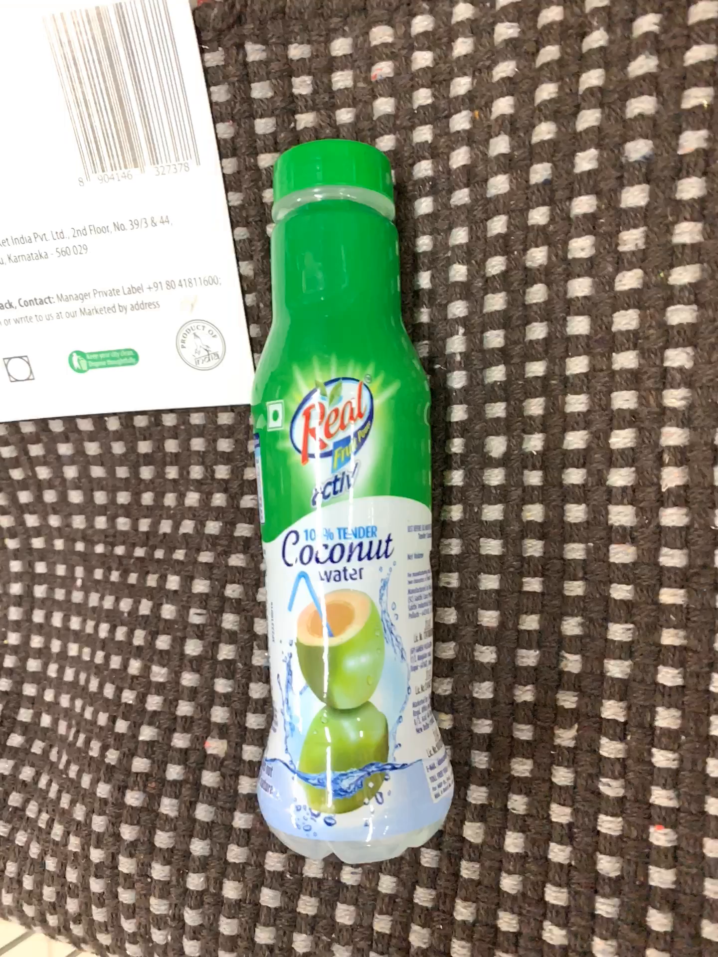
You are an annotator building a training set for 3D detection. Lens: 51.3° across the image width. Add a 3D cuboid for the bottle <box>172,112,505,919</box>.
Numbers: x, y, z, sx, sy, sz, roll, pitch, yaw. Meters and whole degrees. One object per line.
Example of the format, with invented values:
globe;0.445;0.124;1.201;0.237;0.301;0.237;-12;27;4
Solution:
bottle;0.000;0.012;0.181;0.060;0.040;0.170;-3;96;12
